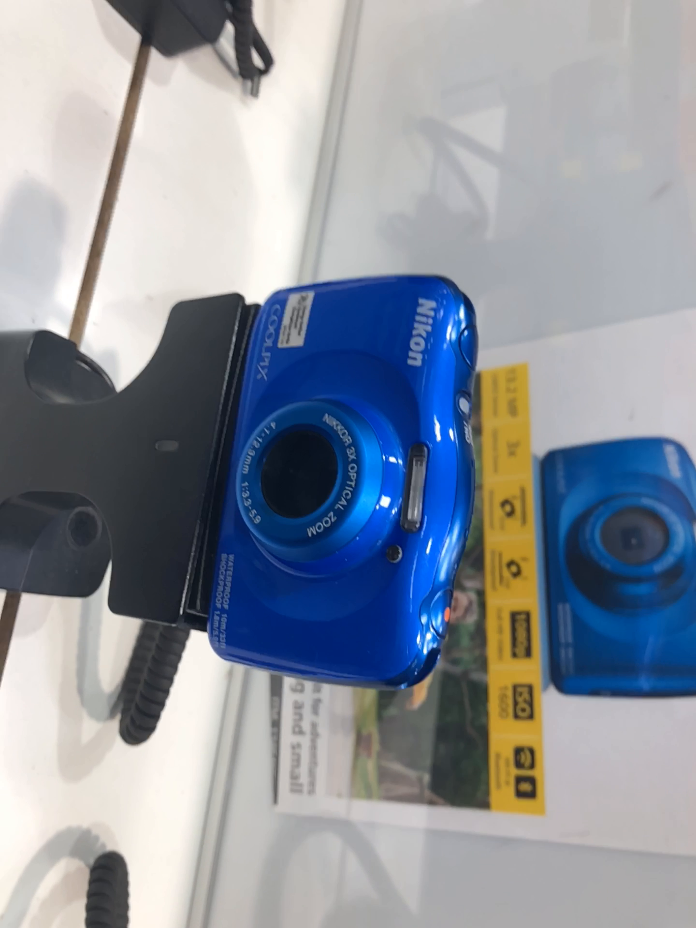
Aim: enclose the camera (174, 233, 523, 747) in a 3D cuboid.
[{"bbox_3d":[0.005,0.008,0.230,0.050,0.070,0.130,30,64,-57],"label":"camera"}]
